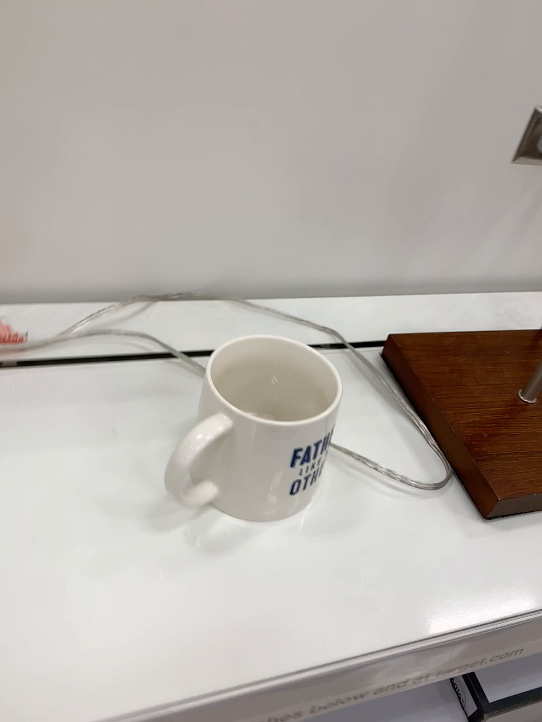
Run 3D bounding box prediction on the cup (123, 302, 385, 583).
[{"bbox_3d":[-0.016,0.056,0.454,0.120,0.119,0.161,36,44,26],"label":"cup"}]
